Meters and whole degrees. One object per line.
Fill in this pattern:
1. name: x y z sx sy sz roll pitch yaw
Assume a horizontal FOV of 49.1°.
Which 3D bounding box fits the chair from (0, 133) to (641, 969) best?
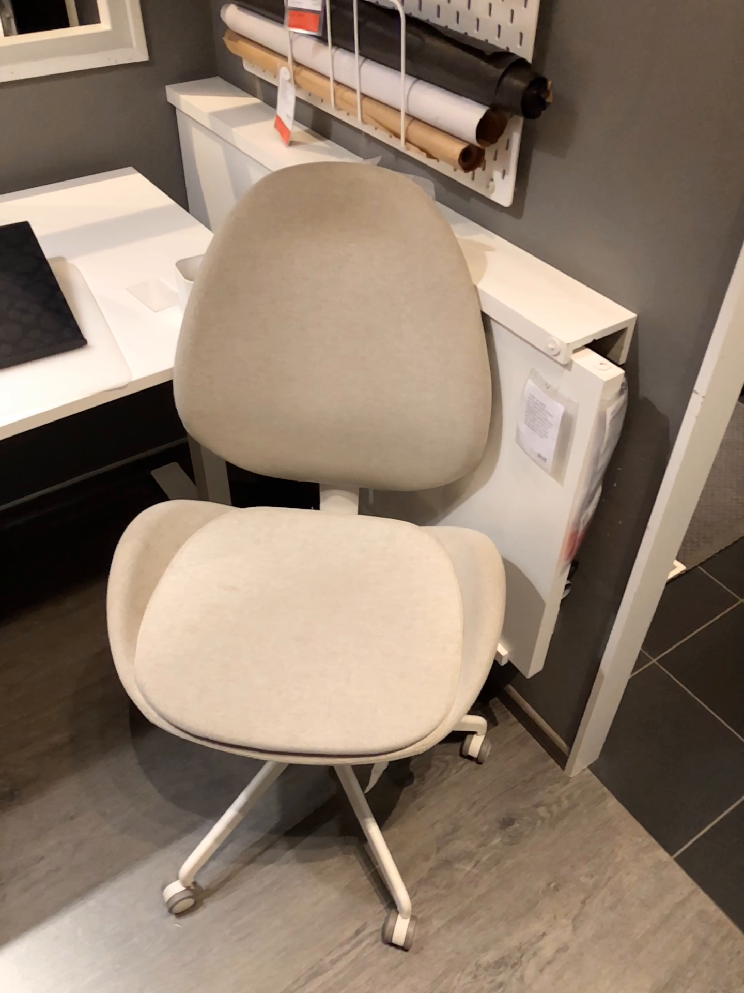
1. chair: -0.100 0.103 1.204 0.680 0.964 0.684 6 43 5
